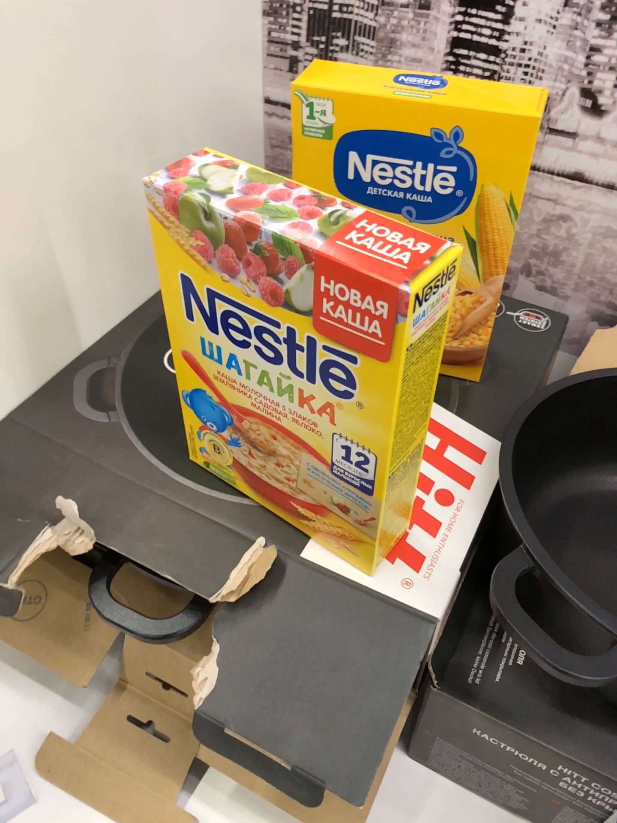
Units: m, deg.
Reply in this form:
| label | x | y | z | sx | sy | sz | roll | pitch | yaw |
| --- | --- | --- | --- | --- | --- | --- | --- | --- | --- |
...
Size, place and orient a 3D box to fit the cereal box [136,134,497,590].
| label | x | y | z | sx | sy | sz | roll | pitch | yaw |
| --- | --- | --- | --- | --- | --- | --- | --- | --- | --- |
| cereal box | -0.003 | -0.021 | 0.363 | 0.160 | 0.199 | 0.050 | 29 | 50 | 27 |

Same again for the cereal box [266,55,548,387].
| label | x | y | z | sx | sy | sz | roll | pitch | yaw |
| --- | --- | --- | --- | --- | --- | --- | --- | --- | --- |
| cereal box | 0.058 | -0.125 | 0.474 | 0.160 | 0.199 | 0.050 | 13 | 45 | 14 |
